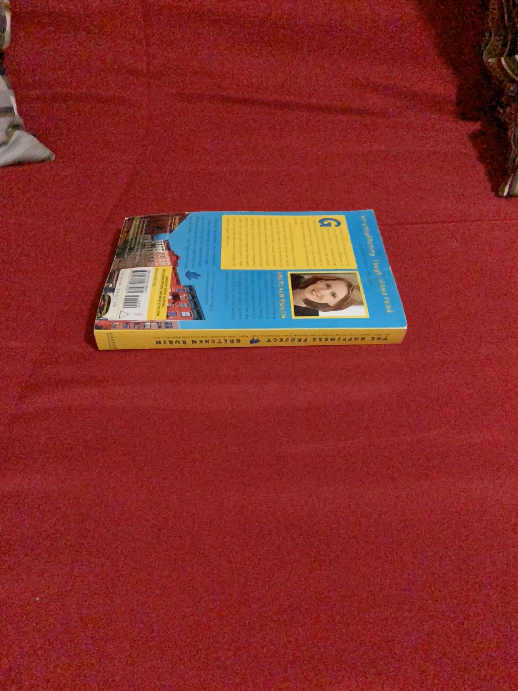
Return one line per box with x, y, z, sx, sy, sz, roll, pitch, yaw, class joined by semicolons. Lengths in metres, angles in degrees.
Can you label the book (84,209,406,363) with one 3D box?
-0.009;-0.049;0.391;0.202;0.033;0.133;-1;46;0;book
